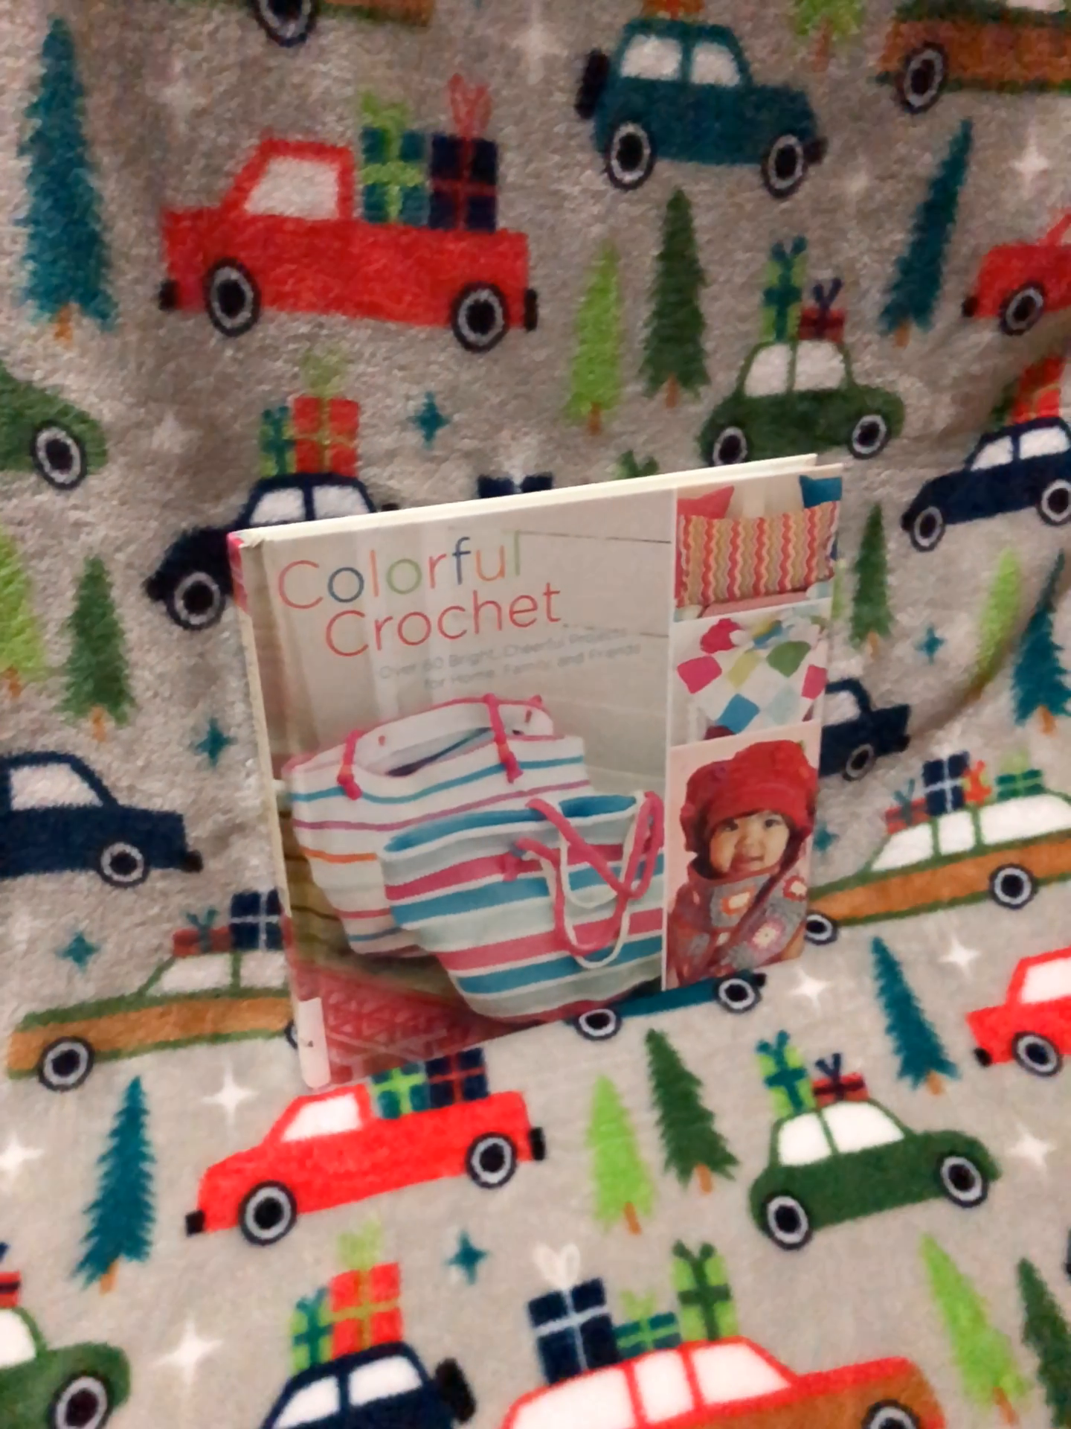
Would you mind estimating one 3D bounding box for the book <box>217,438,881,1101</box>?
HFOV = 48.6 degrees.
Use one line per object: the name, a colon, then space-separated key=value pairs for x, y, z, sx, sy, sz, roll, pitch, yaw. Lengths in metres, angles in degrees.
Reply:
book: x=0.008 y=0.023 z=0.403 sx=0.202 sy=0.214 sz=0.020 roll=-11 pitch=35 yaw=-20
